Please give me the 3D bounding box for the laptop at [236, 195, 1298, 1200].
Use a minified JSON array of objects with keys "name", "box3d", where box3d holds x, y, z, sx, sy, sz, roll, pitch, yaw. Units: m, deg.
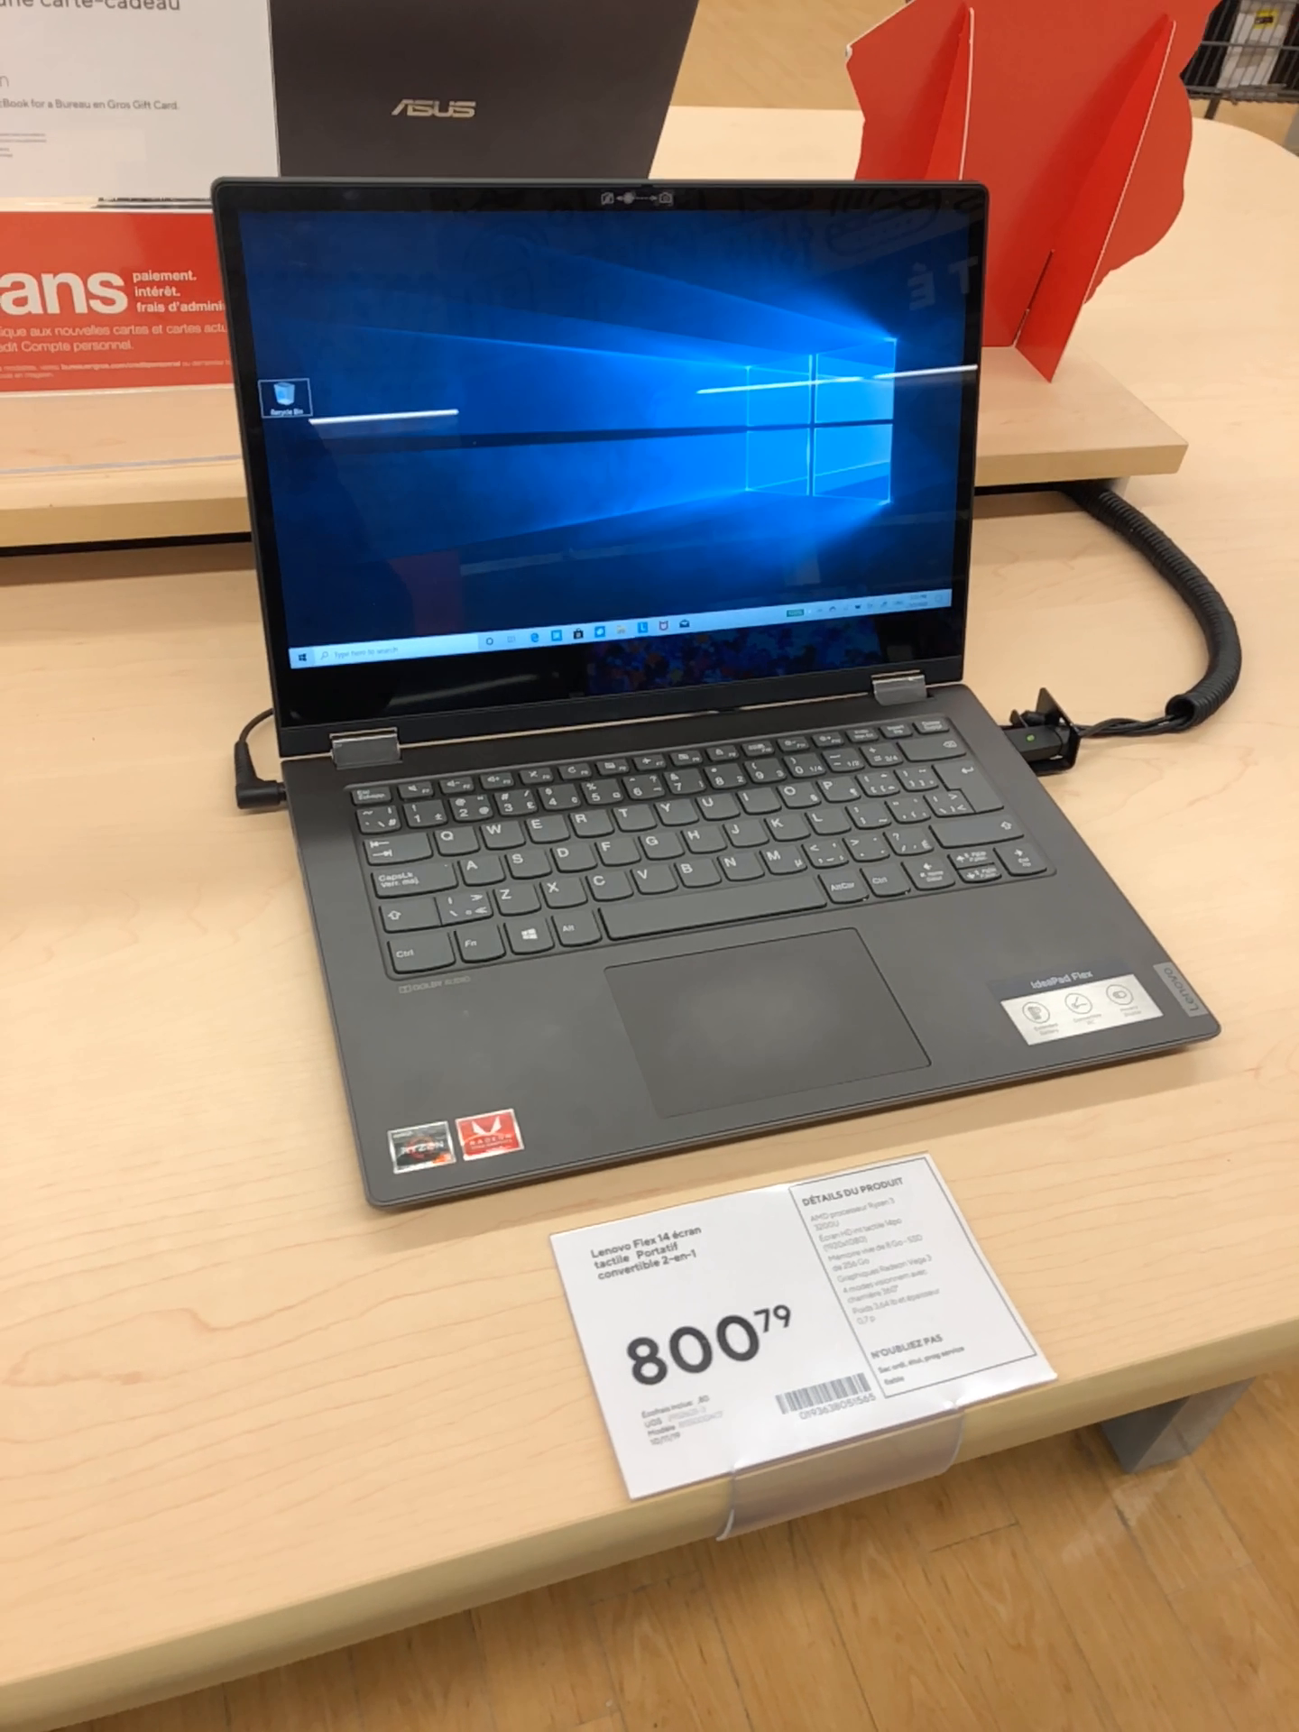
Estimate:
[{"name":"laptop","box3d":[0.033,-0.092,0.536,0.319,0.198,0.307,-8,46,-17]}]
